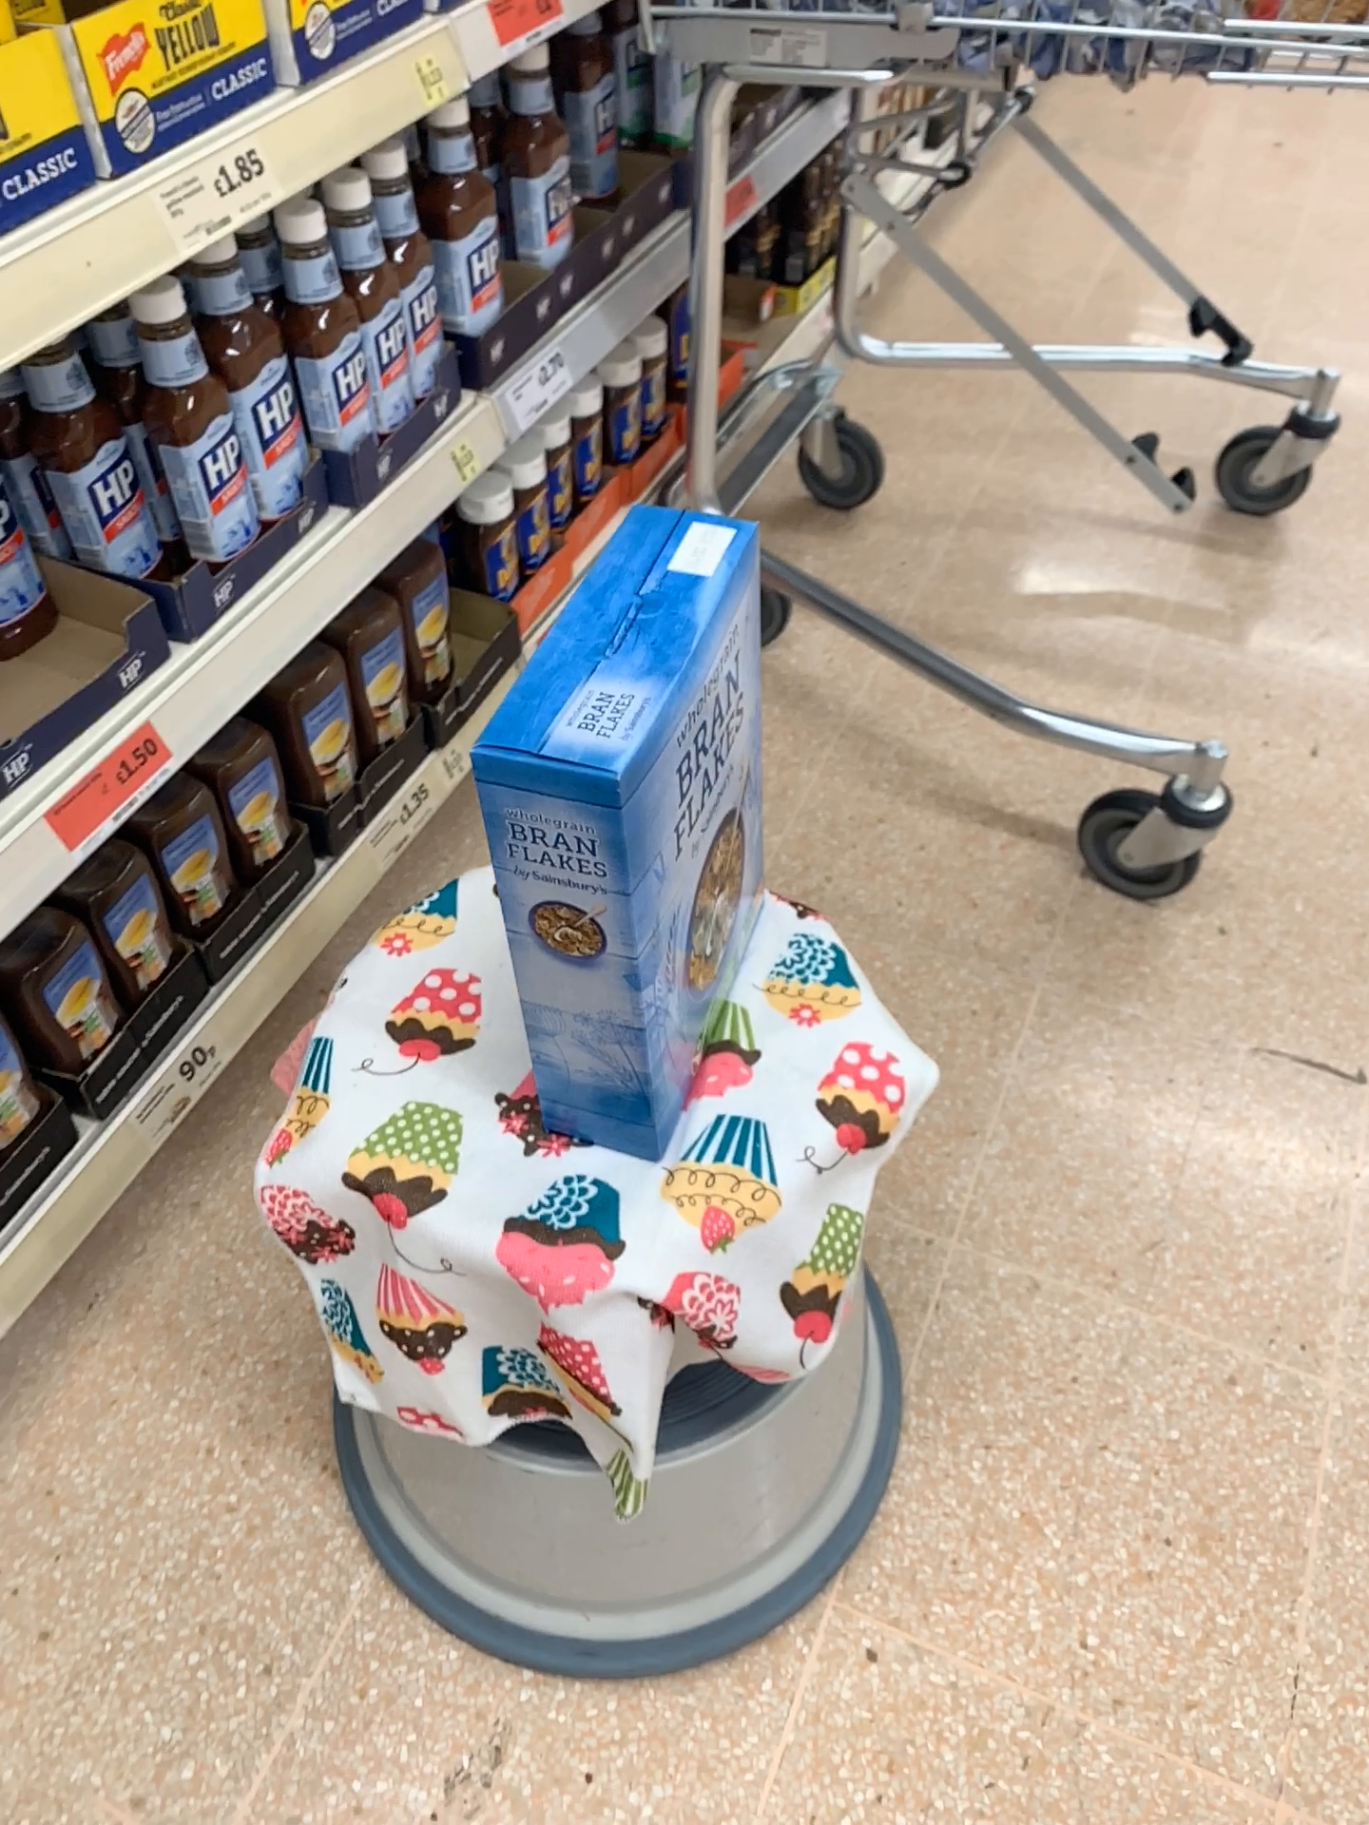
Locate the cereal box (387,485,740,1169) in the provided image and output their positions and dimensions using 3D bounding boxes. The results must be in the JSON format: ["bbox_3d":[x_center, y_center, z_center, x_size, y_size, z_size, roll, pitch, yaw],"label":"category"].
[{"bbox_3d":[-0.041,-0.040,0.704,0.080,0.258,0.212,11,48,14],"label":"cereal box"}]
